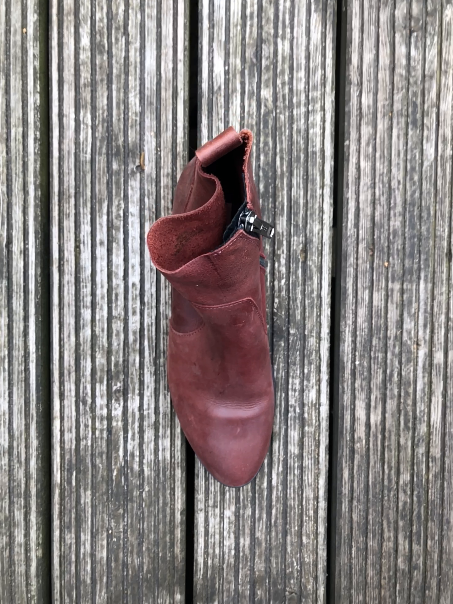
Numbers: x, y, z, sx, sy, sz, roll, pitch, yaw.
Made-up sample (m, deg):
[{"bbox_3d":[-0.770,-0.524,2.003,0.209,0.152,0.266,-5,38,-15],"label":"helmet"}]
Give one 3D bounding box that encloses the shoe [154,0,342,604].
[{"bbox_3d":[0.009,0.007,0.383,0.090,0.240,0.340,1,93,0],"label":"shoe"}]
